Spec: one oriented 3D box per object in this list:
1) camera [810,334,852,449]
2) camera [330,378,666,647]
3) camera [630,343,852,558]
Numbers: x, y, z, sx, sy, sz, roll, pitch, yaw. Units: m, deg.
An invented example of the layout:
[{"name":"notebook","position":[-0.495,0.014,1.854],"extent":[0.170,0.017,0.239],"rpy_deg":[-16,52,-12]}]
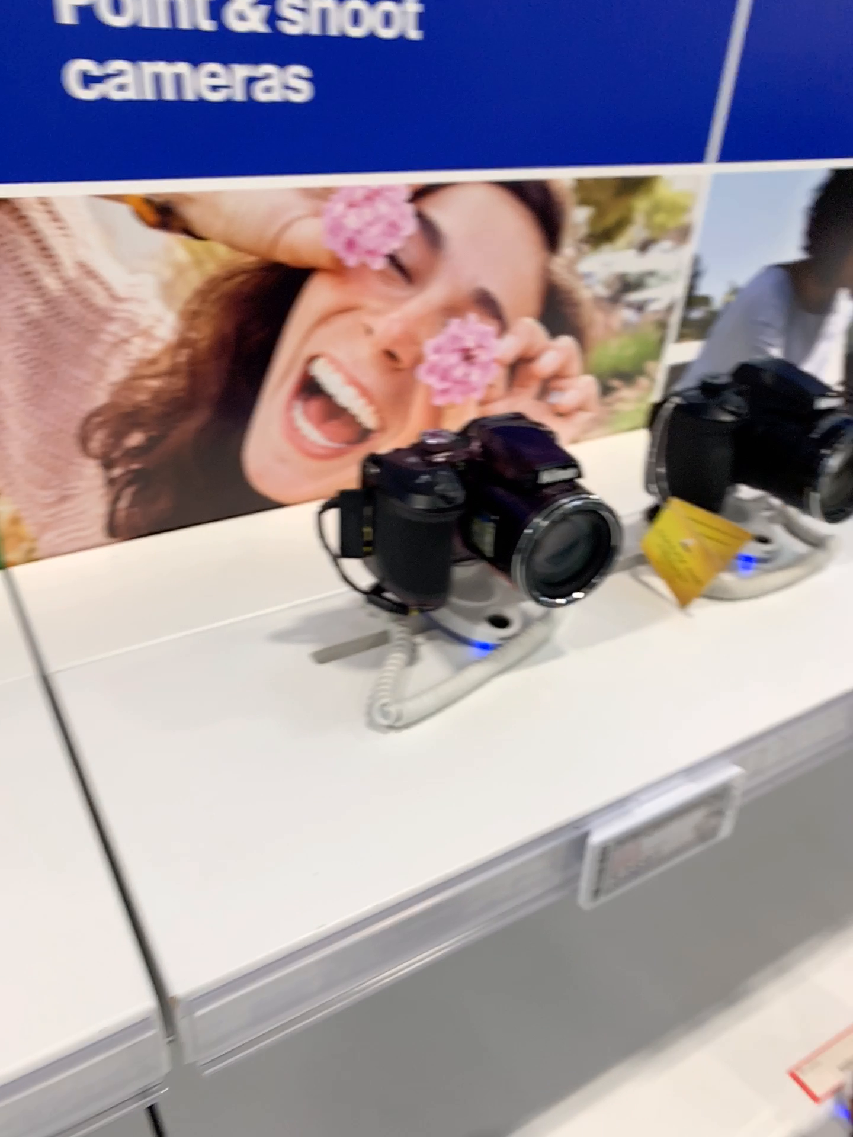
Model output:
[{"name":"camera","position":[0.369,-0.141,0.695],"extent":[0.120,0.060,0.050],"rpy_deg":[-15,34,-27]},{"name":"camera","position":[0.033,-0.037,0.467],"extent":[0.130,0.080,0.111],"rpy_deg":[-15,34,-27]},{"name":"camera","position":[0.214,-0.079,0.548],"extent":[0.120,0.080,0.111],"rpy_deg":[-15,34,-27]}]
